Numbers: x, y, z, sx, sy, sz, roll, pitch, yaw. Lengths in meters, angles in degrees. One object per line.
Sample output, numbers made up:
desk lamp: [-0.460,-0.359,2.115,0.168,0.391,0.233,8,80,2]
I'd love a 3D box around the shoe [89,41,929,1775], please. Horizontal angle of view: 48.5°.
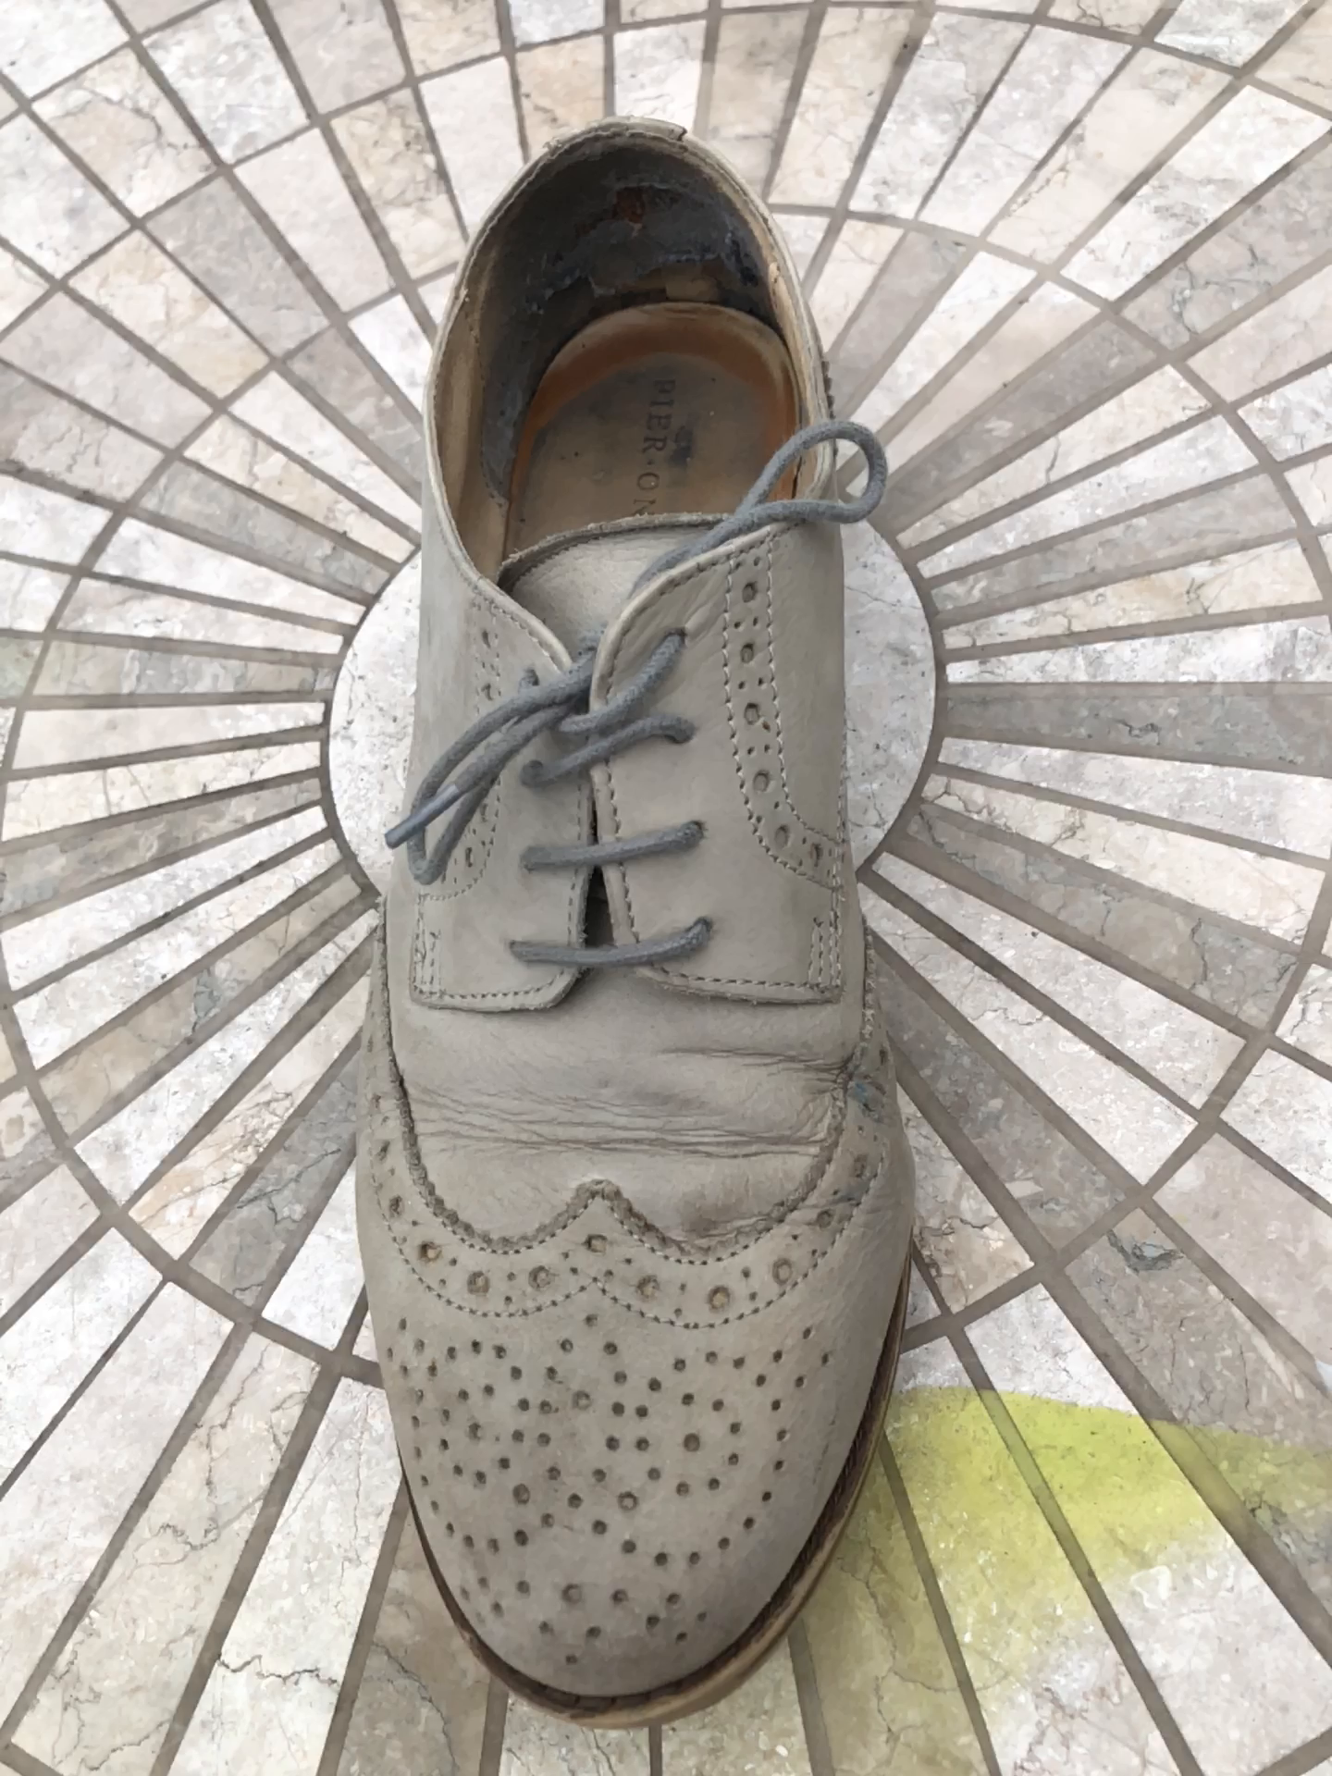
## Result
shoe: [-0.009,-0.010,0.244,0.090,0.079,0.257,-3,66,10]
